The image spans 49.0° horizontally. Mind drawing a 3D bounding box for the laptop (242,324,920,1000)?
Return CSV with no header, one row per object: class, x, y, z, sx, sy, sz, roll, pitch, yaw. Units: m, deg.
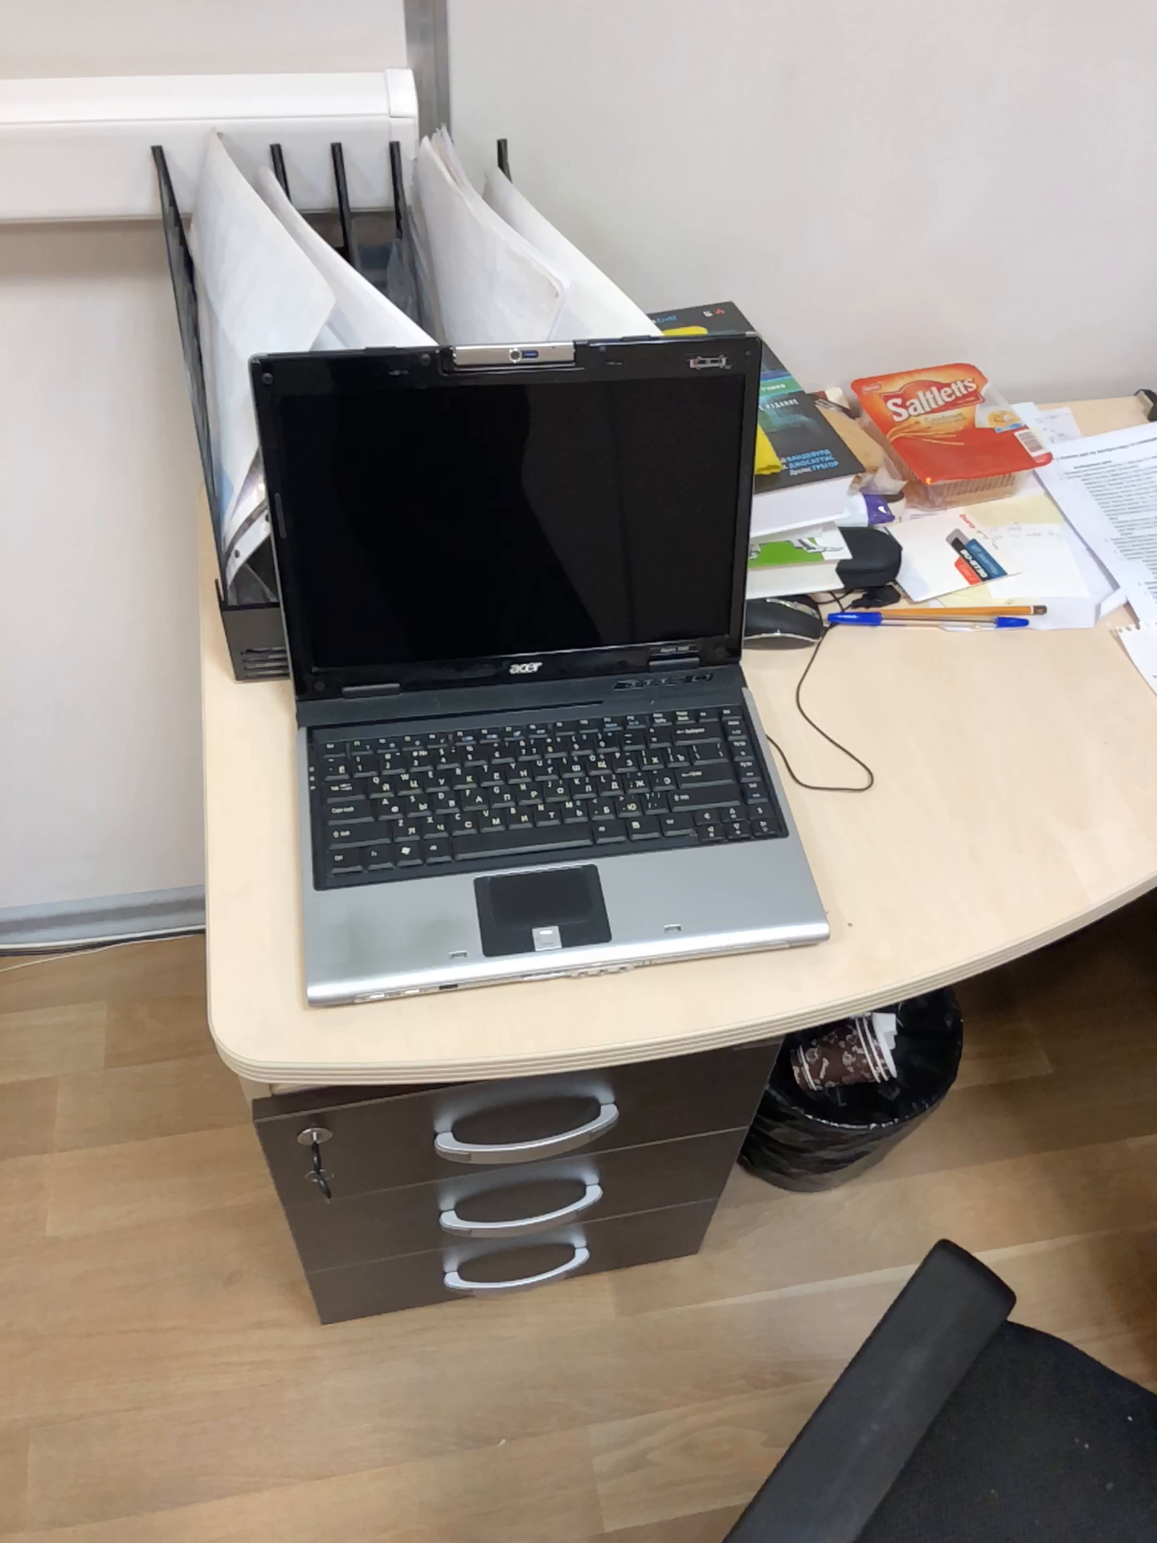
laptop,-0.023,-0.077,0.788,0.326,0.219,0.324,-6,53,-8
